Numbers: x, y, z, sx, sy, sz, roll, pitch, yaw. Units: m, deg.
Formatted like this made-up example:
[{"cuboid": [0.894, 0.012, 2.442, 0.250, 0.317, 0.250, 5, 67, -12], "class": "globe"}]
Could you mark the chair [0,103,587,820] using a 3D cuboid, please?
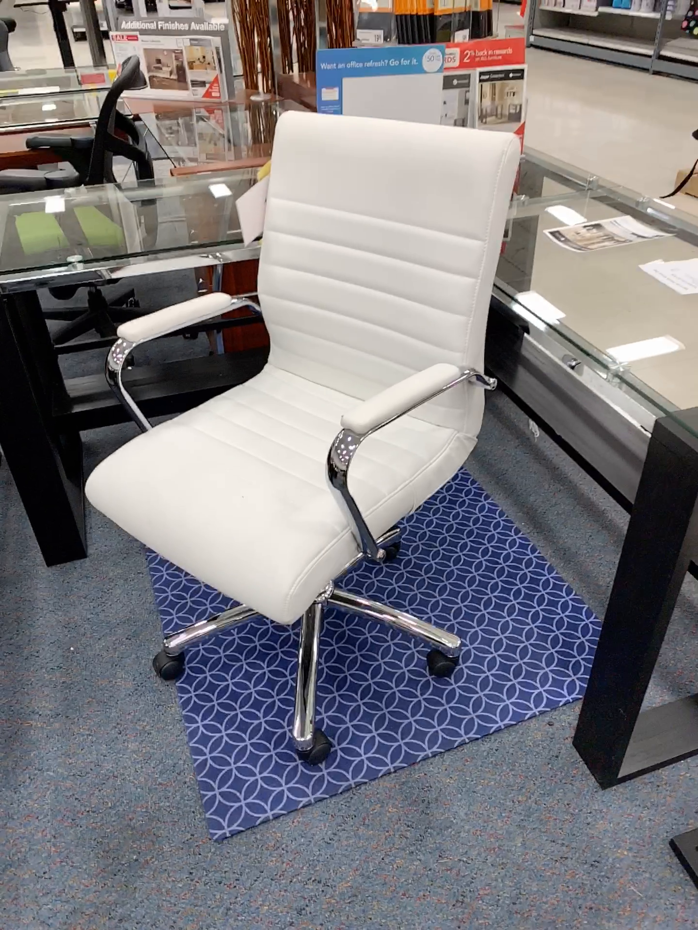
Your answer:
[{"cuboid": [-0.069, -0.045, 1.297, 0.616, 0.962, 0.663, 22, 43, 29], "class": "chair"}]
